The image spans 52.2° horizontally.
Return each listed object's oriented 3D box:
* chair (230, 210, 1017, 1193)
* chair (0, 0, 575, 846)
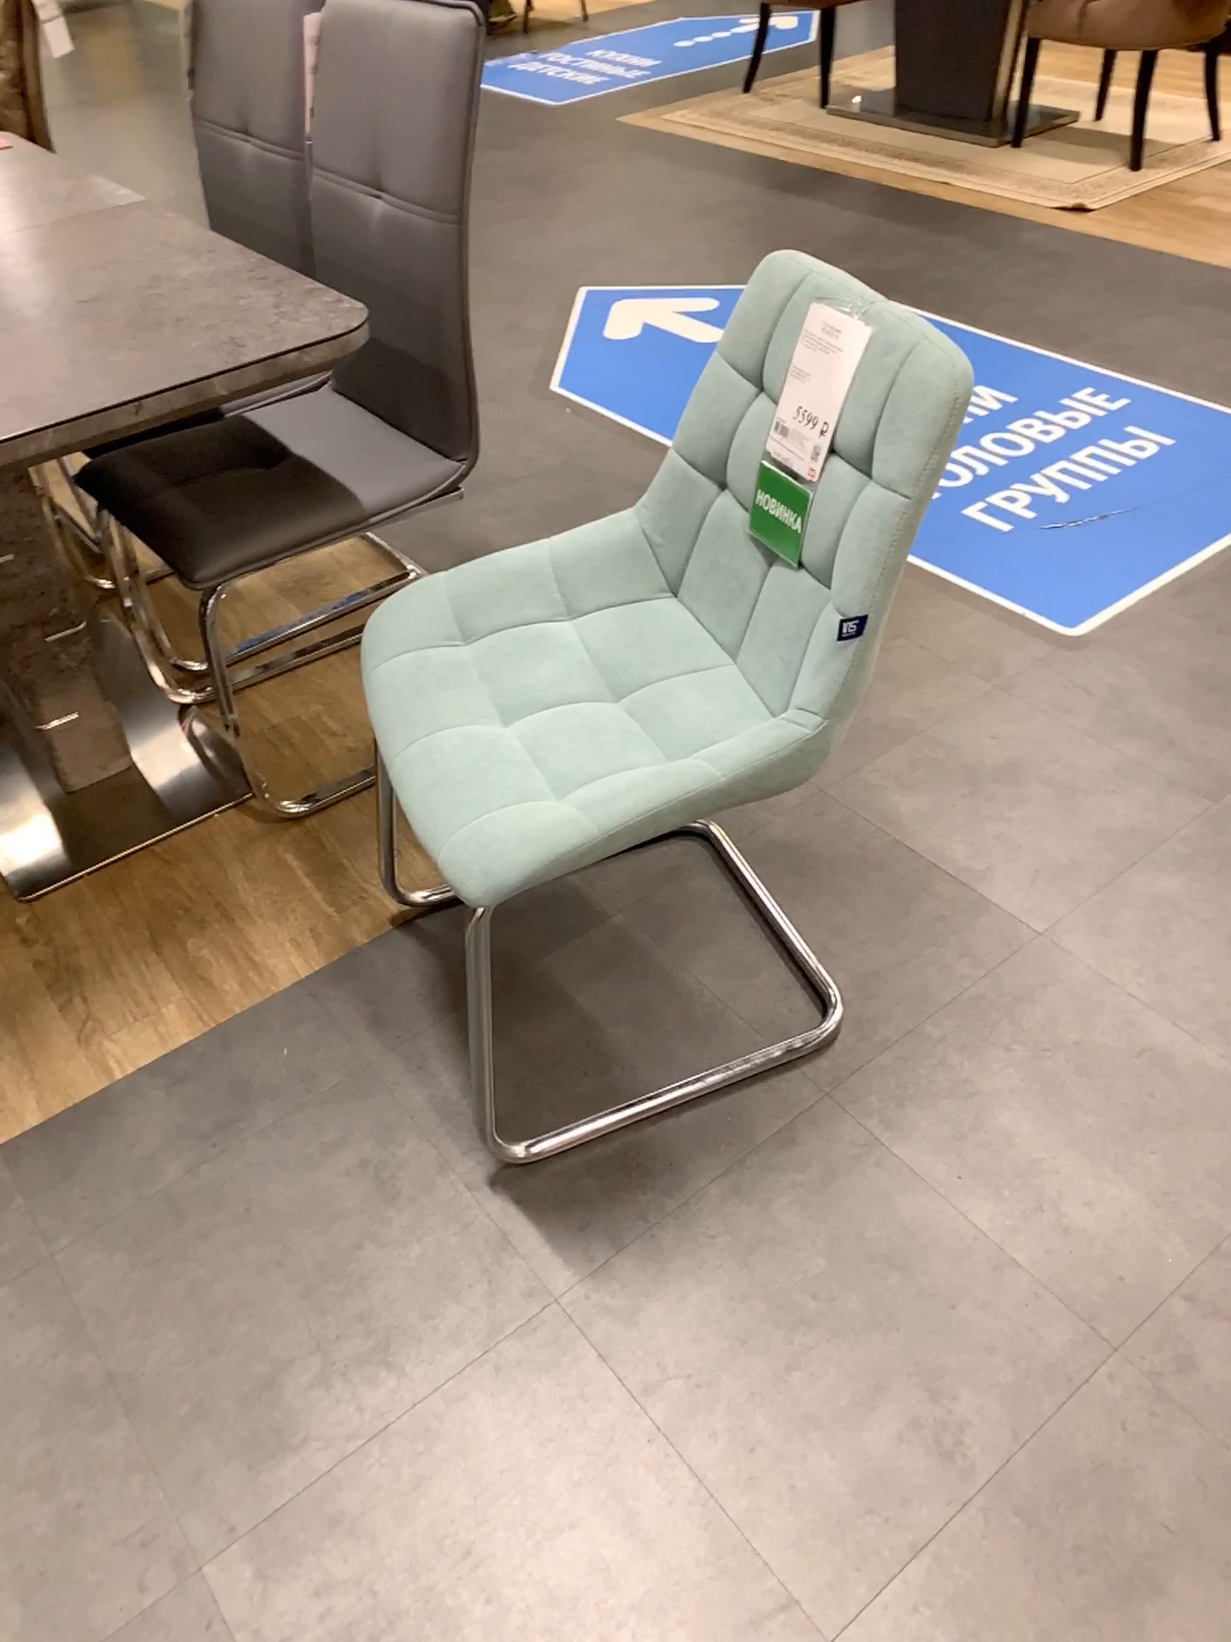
[{"bbox_3d":[-0.002,-0.125,1.394,0.550,0.825,0.513,-18,43,-15],"label":"chair"},{"bbox_3d":[-0.478,-0.590,1.847,0.571,1.004,0.512,-26,45,-23],"label":"chair"}]
